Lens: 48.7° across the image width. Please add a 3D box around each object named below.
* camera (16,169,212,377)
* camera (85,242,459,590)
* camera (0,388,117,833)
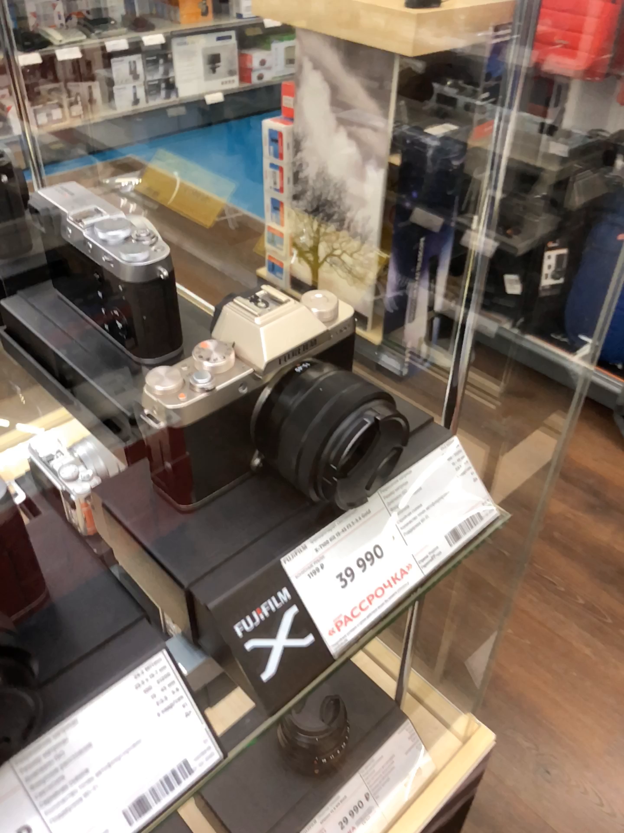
[{"bbox_3d":[-0.128,-0.097,0.444,0.055,0.076,0.132,-28,48,-31],"label":"camera"},{"bbox_3d":[-0.016,-0.010,0.328,0.100,0.080,0.132,32,48,32],"label":"camera"},{"bbox_3d":[-0.160,0.077,0.227,0.141,0.086,0.102,-31,49,-33],"label":"camera"}]
